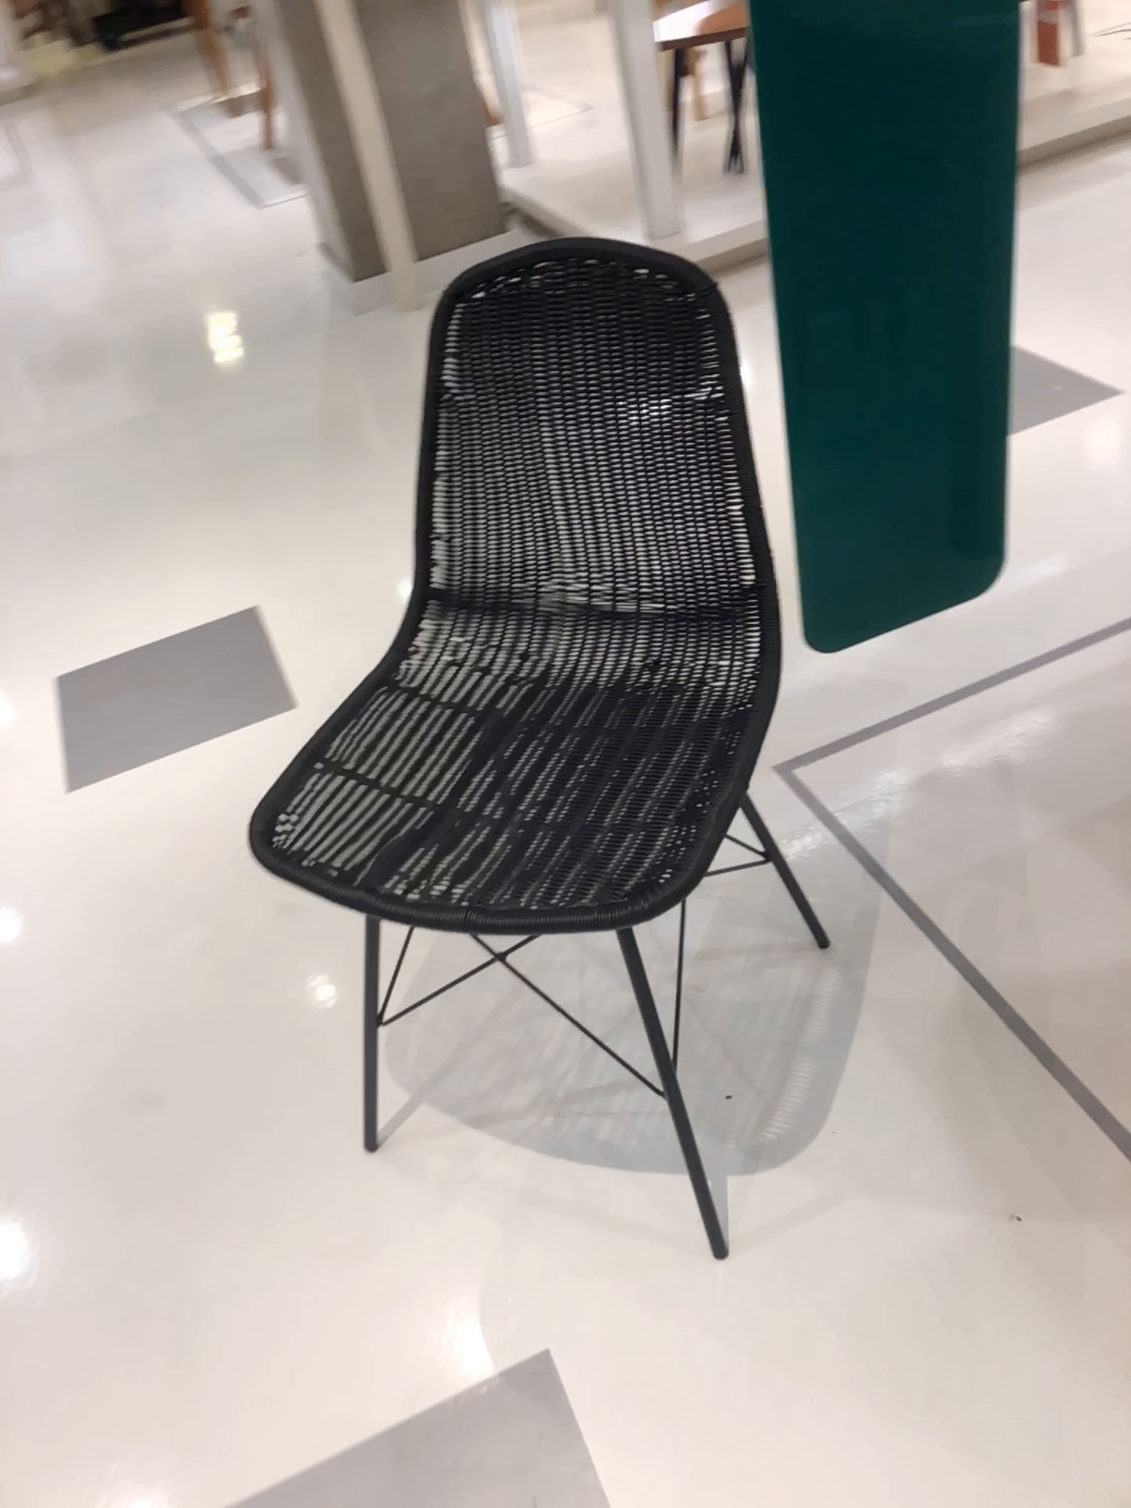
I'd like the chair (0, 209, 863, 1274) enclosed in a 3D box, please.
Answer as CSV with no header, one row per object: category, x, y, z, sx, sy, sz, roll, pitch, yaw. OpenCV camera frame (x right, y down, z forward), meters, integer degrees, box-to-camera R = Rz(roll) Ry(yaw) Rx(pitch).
chair,-0.024,-0.015,1.220,0.481,0.794,0.553,7,42,24
